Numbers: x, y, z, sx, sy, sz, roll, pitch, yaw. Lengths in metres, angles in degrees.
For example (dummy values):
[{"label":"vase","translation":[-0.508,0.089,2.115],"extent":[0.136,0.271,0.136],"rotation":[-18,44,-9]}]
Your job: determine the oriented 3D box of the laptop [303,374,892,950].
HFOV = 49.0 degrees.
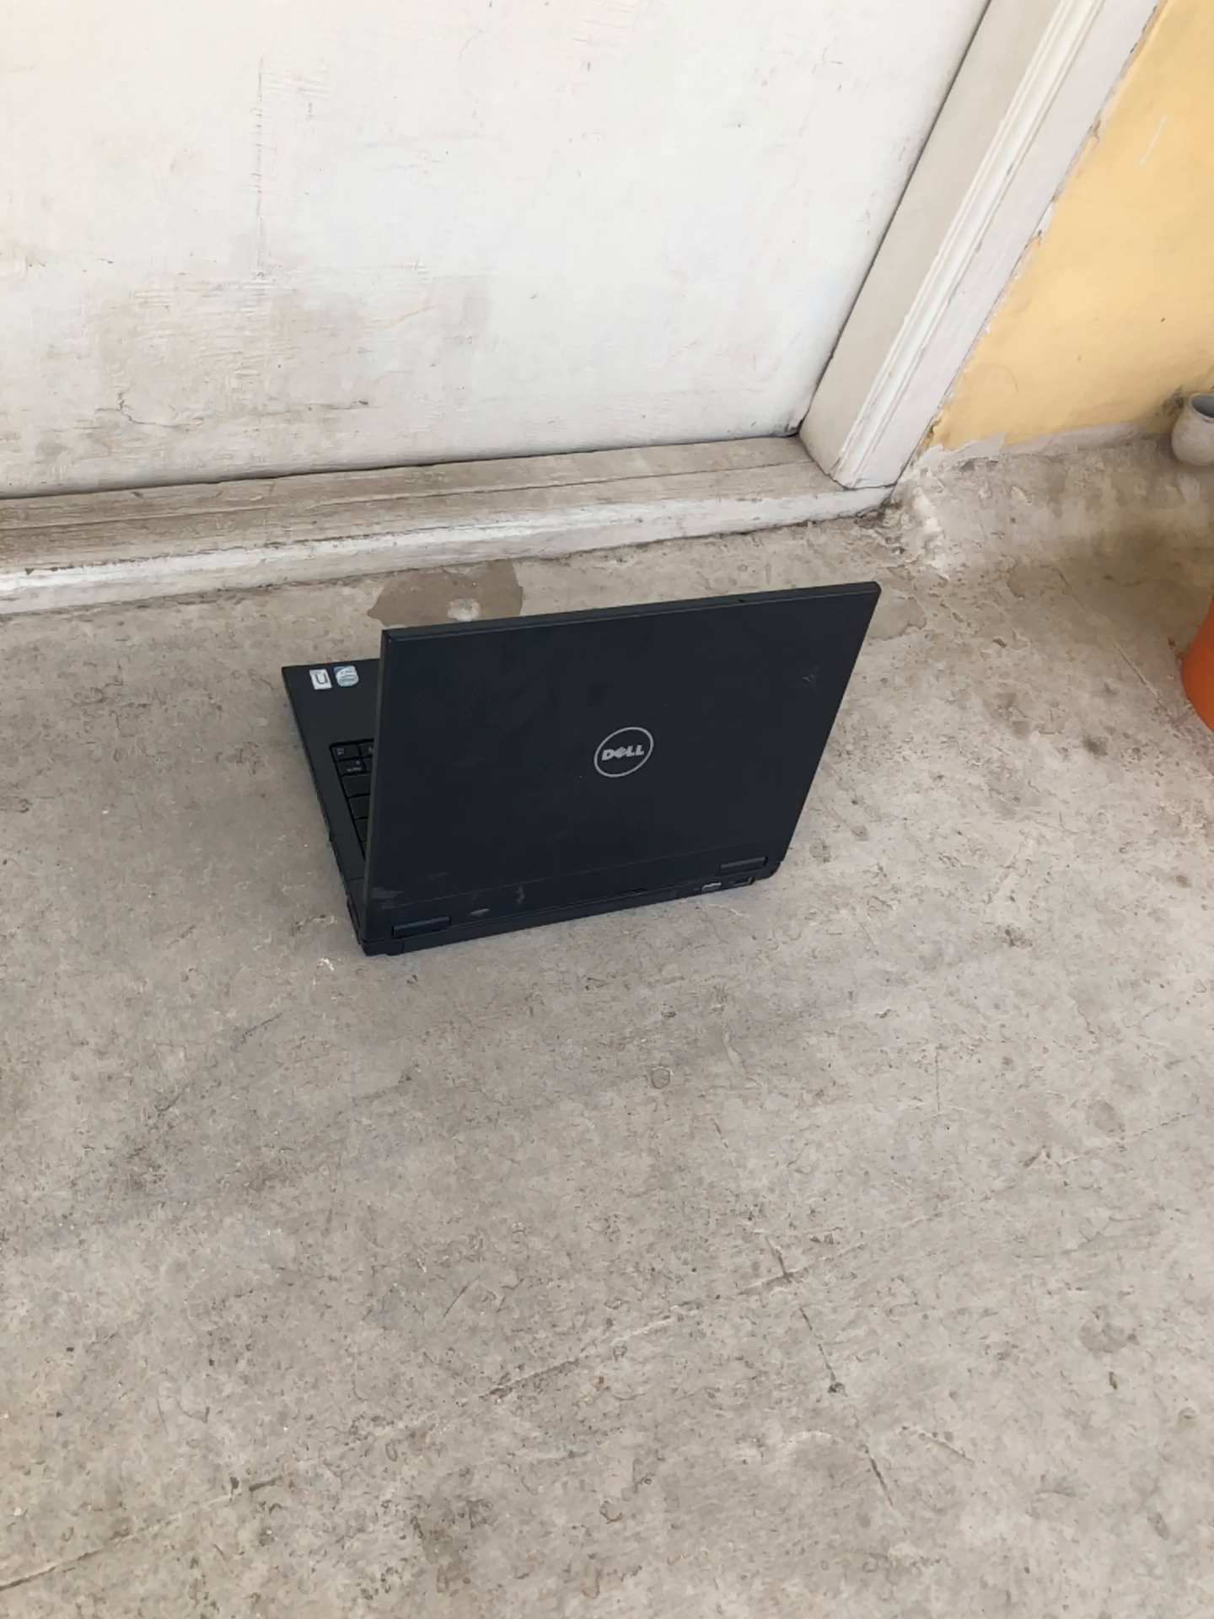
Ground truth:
[{"label":"laptop","translation":[-0.028,-0.098,0.869],"extent":[0.279,0.252,0.225],"rotation":[-9,58,-22]}]
